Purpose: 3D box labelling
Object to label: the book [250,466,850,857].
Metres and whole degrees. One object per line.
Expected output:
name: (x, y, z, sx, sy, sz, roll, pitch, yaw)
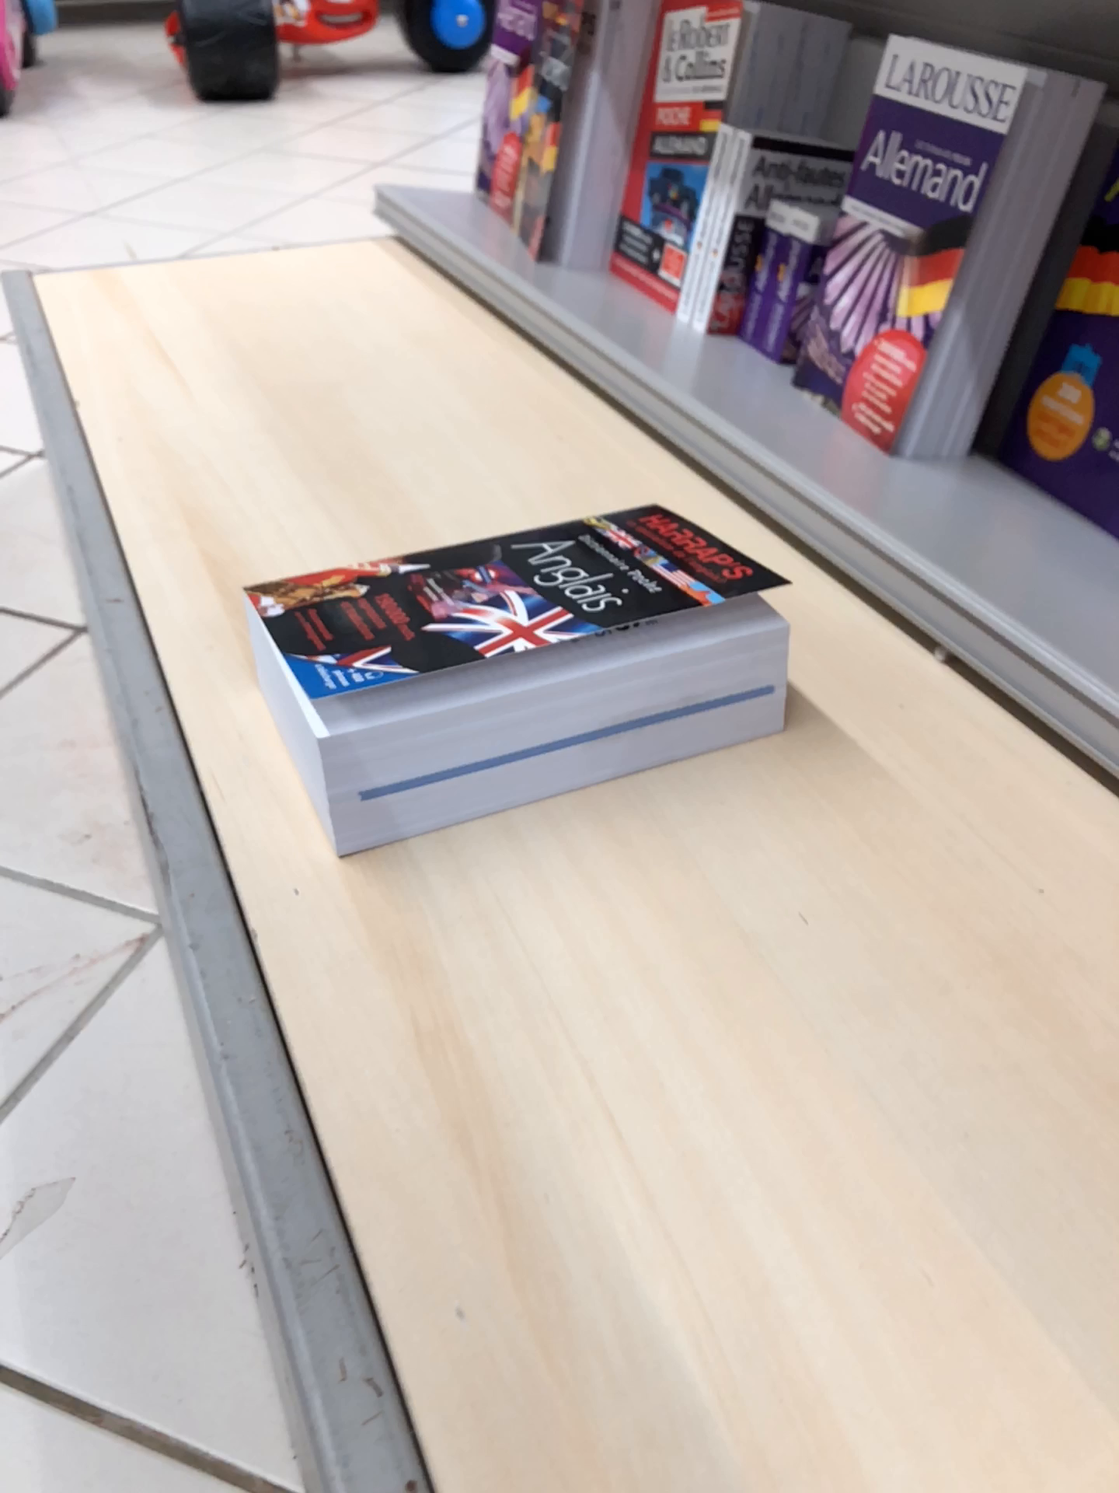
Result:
book: (-0.006, -0.040, 0.453, 0.182, 0.057, 0.115, -14, 39, -20)
